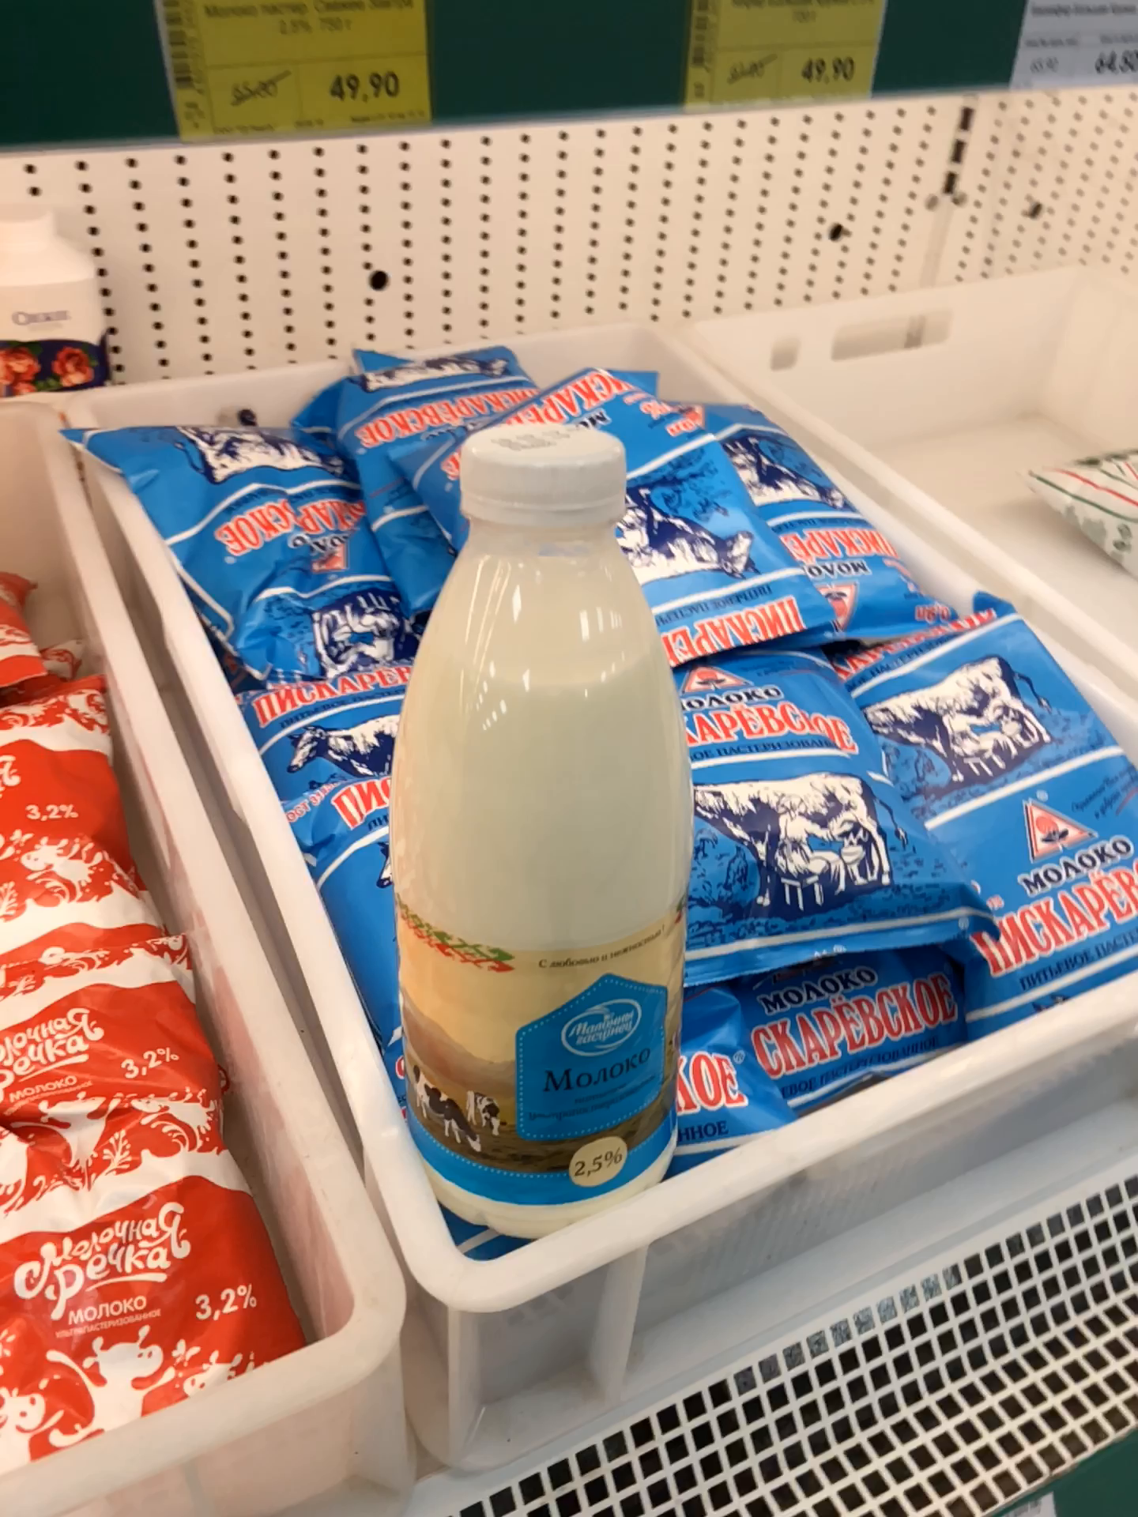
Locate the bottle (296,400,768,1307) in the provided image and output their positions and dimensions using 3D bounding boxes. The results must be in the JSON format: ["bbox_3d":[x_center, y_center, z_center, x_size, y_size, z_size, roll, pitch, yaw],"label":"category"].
[{"bbox_3d":[-0.010,0.027,0.359,0.090,0.229,0.090,-2,27,1],"label":"bottle"}]
